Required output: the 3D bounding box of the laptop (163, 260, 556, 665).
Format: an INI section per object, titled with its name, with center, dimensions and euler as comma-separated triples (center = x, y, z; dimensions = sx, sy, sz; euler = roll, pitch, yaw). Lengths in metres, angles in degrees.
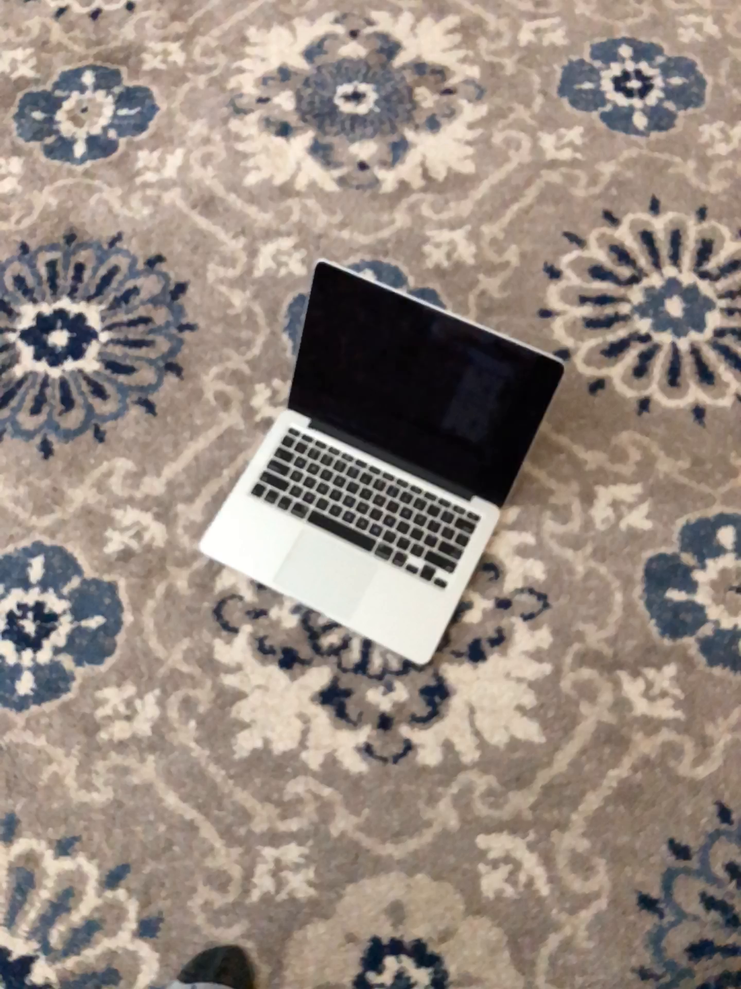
[laptop]
center = -0.002, -0.037, 0.936
dimensions = 0.300, 0.171, 0.322
euler = 25, 69, 9
